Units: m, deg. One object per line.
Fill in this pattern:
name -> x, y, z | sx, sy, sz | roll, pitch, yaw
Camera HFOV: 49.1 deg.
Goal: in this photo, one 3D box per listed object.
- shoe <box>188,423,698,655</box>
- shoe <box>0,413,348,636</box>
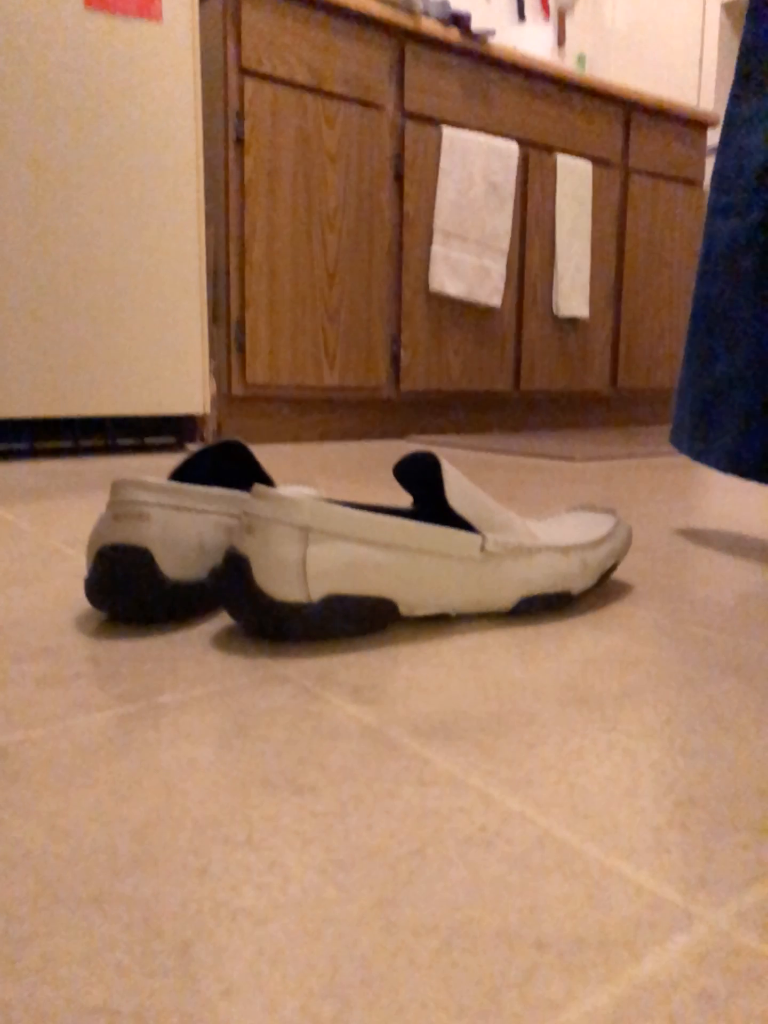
shoe -> 0.041, 0.001, 0.507 | 0.290, 0.097, 0.110 | -5, 10, -29
shoe -> -0.116, -0.012, 0.579 | 0.110, 0.097, 0.307 | 2, 9, 11
